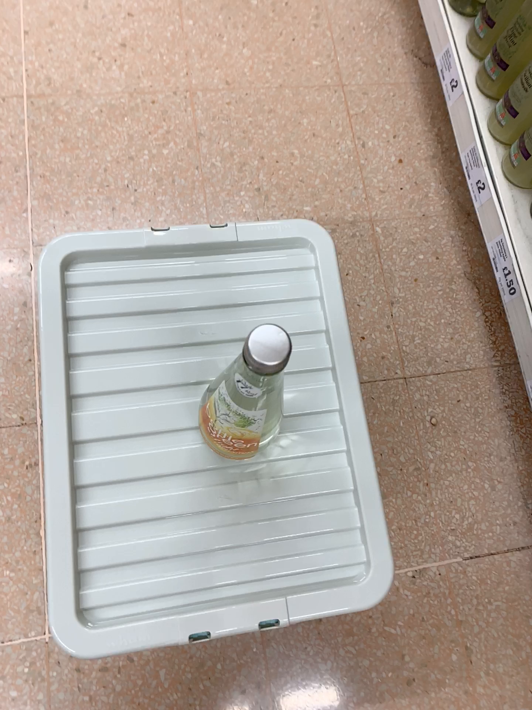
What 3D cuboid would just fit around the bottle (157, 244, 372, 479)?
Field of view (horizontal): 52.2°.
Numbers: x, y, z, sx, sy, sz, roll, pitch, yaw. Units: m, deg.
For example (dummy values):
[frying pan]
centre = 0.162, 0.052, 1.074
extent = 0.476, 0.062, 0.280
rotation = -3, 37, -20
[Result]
[bottle]
centre = -0.016, 0.032, 0.451
extent = 0.090, 0.289, 0.090
rotation = 2, 74, -7
